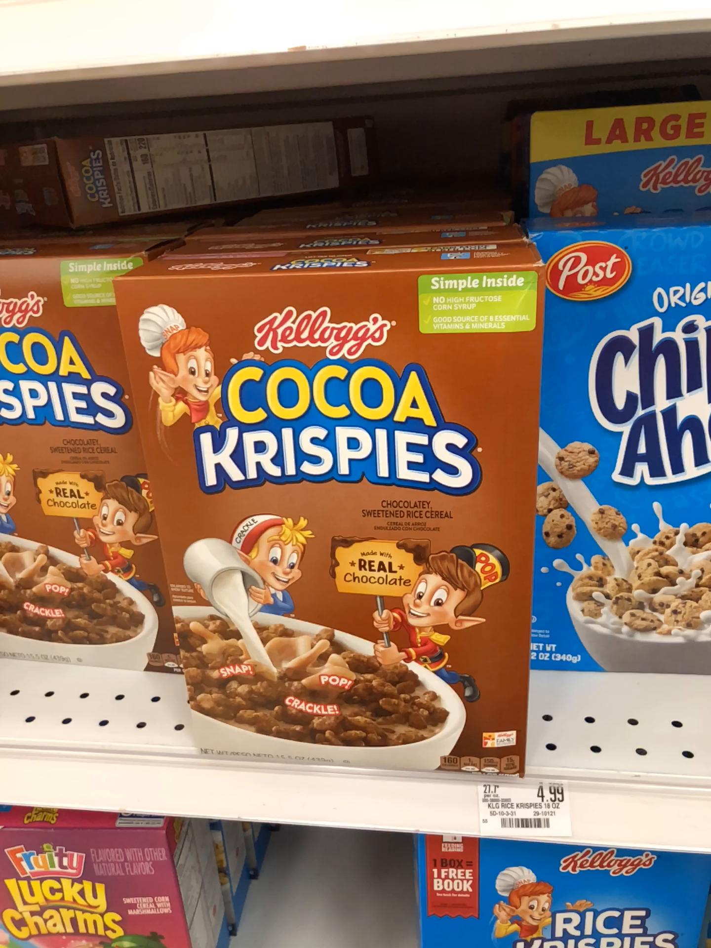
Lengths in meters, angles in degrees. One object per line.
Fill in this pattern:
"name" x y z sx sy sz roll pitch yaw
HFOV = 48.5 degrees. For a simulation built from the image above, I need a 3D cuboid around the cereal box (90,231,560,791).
"cereal box" -0.003 0.029 0.422 0.200 0.289 0.070 0 25 9
